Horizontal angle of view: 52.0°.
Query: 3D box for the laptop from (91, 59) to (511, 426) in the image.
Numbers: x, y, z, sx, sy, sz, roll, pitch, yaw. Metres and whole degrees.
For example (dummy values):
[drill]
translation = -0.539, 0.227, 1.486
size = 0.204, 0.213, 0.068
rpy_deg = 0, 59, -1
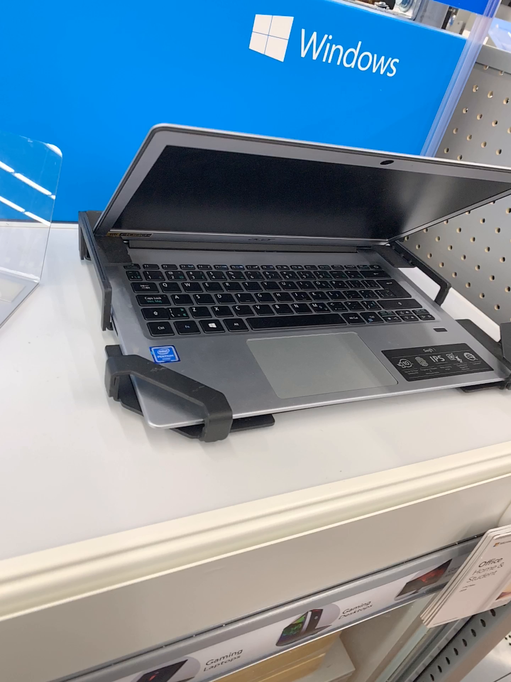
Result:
[laptop]
translation = 0.055, -0.083, 0.397
size = 0.306, 0.141, 0.213
rpy_deg = -4, 39, -27
